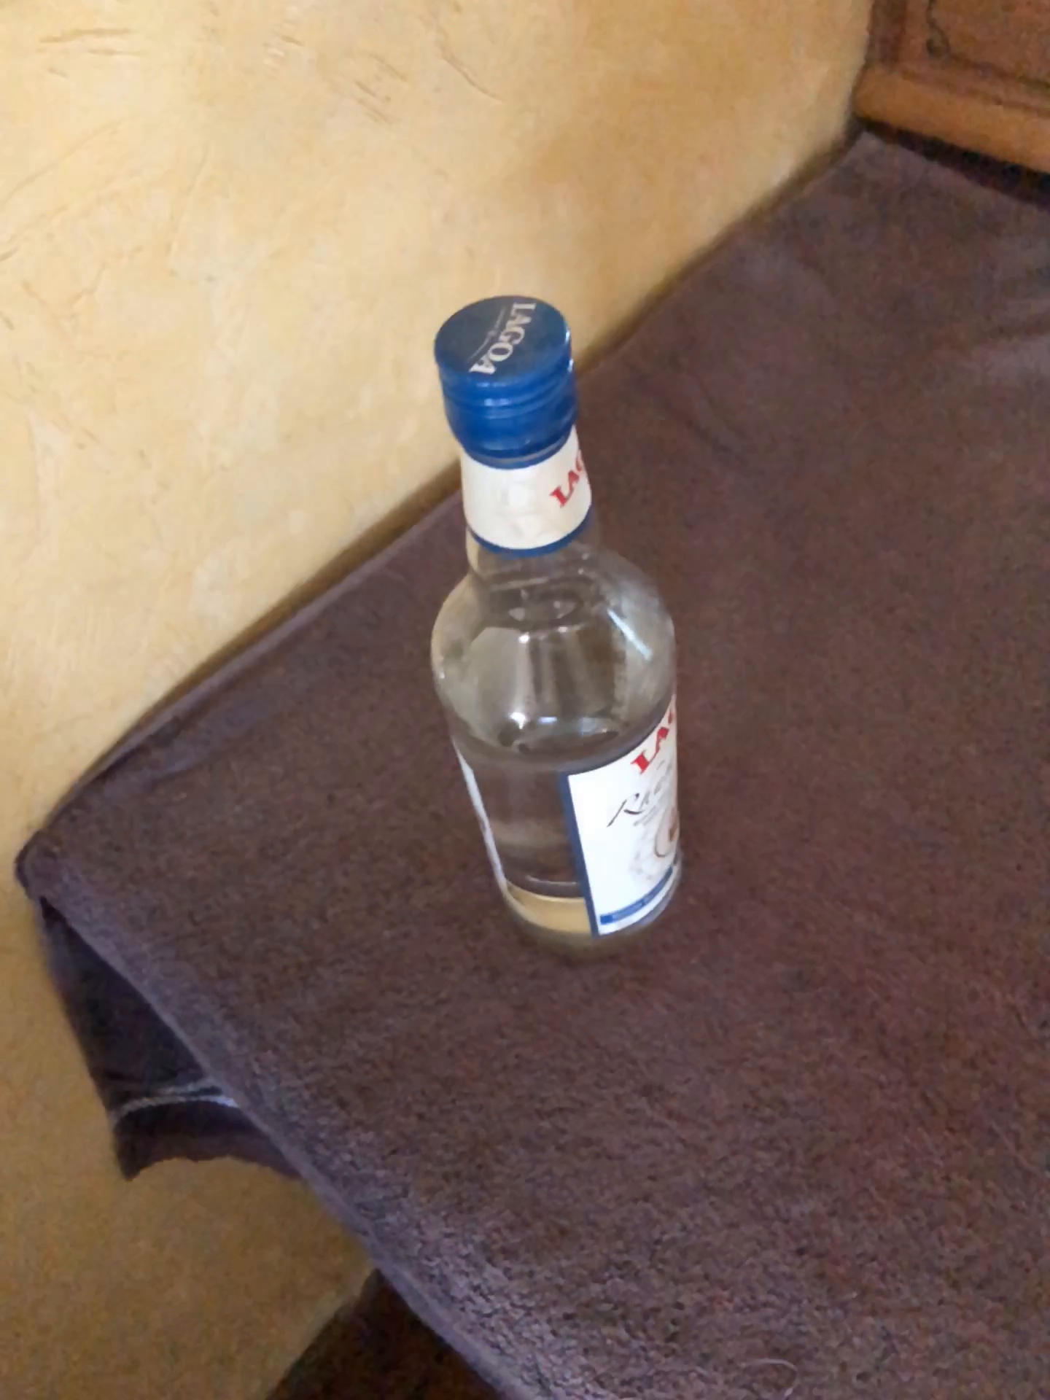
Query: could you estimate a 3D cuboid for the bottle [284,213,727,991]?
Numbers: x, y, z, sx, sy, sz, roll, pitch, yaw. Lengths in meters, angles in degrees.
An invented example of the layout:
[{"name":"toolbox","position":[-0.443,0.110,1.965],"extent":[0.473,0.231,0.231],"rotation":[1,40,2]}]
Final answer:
[{"name":"bottle","position":[0.014,-0.003,0.357],"extent":[0.080,0.269,0.080],"rotation":[-4,55,6]}]
